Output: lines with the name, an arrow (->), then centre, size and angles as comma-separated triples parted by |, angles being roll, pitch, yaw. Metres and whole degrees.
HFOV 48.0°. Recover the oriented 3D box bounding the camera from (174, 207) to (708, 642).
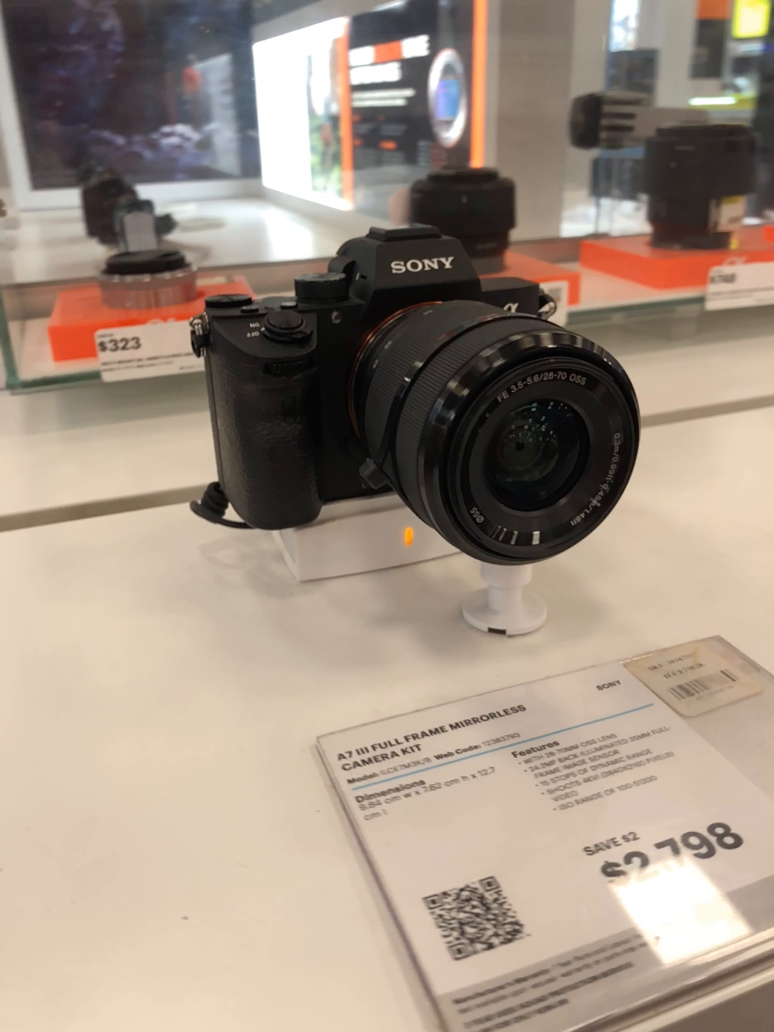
camera -> 0.005, -0.051, 0.320 | 0.130, 0.100, 0.161 | -11, 26, -18
